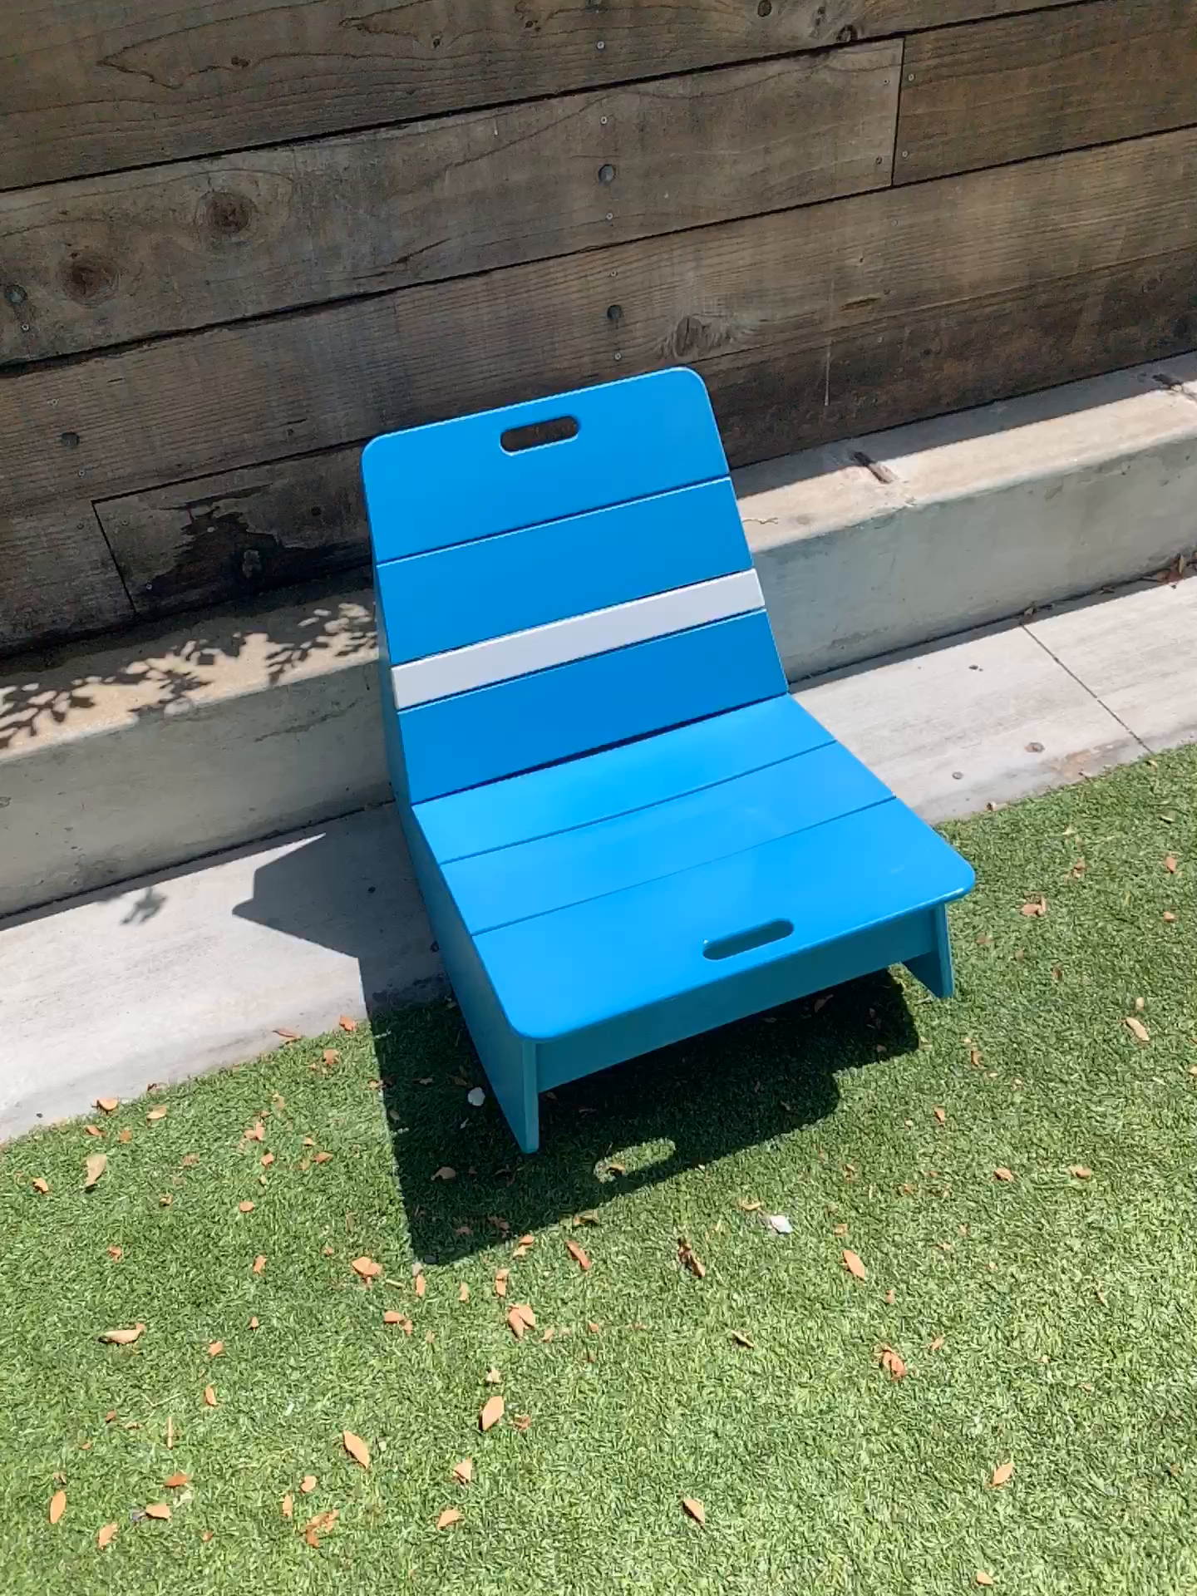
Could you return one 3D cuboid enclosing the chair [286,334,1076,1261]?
[{"bbox_3d":[0.040,-0.014,1.525,0.590,0.746,0.724,-15,47,-11],"label":"chair"}]
